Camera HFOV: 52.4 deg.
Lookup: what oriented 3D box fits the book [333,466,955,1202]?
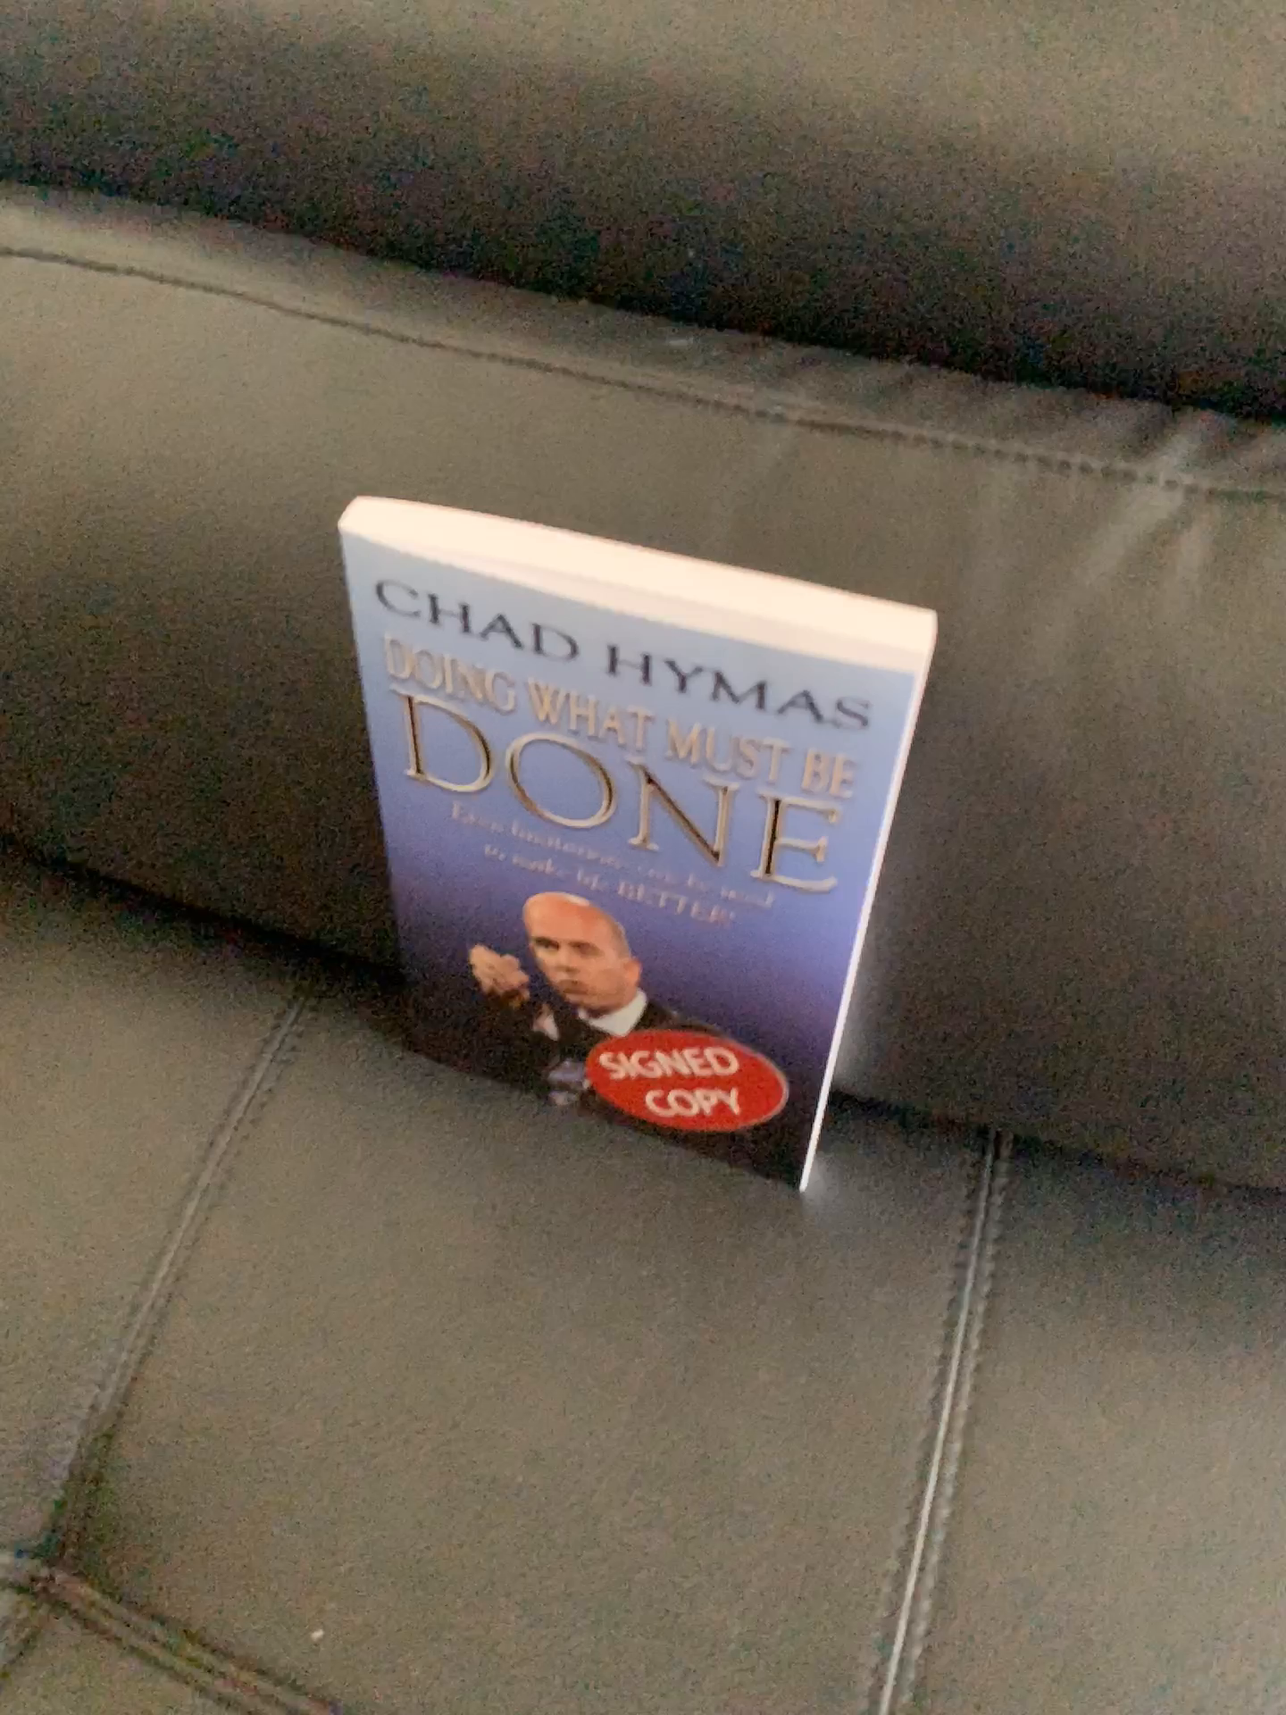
[{"bbox_3d":[-0.009,0.007,0.402,0.157,0.225,0.025,18,45,13],"label":"book"}]
